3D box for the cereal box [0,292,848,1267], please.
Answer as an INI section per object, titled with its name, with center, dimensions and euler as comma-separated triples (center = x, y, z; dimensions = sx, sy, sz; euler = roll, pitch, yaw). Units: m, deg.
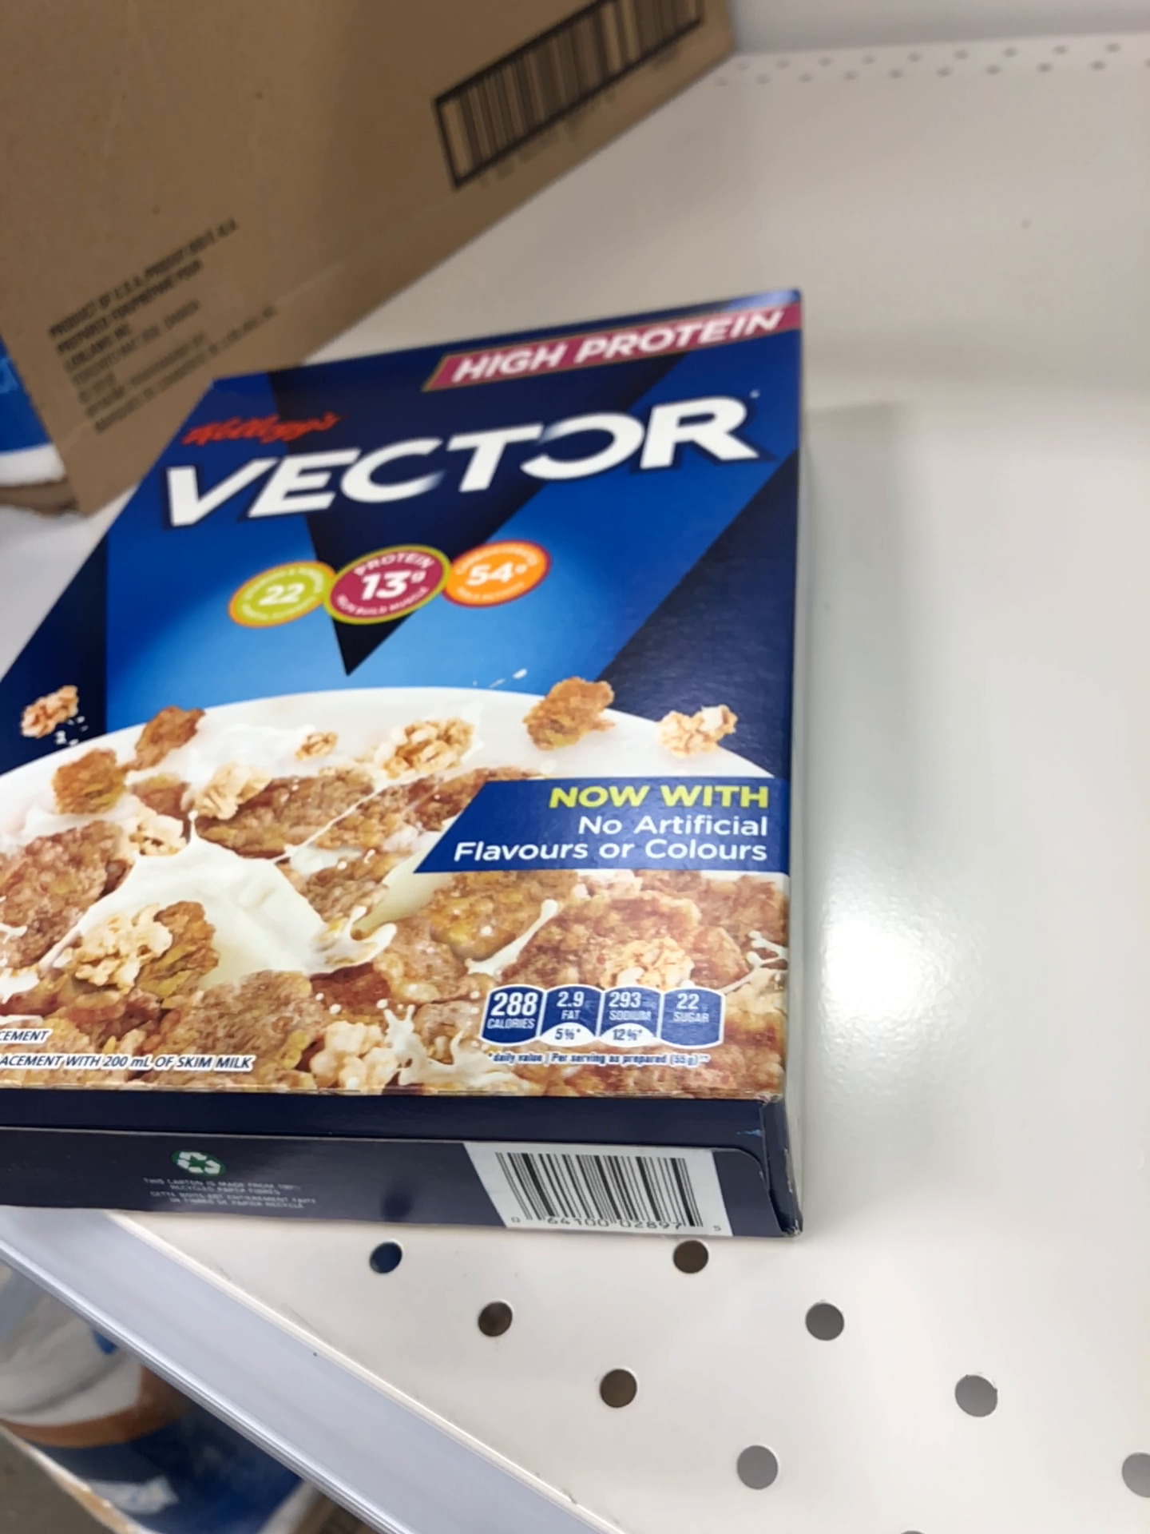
[cereal box]
center = -0.041, -0.026, 0.333
dimensions = 0.210, 0.050, 0.291
euler = -3, 41, 13
